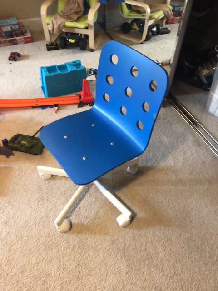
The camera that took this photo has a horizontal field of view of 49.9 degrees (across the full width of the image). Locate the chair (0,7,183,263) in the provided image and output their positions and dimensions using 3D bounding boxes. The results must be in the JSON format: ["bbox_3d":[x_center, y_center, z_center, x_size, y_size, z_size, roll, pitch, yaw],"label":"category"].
[{"bbox_3d":[-0.136,-0.017,0.869,0.362,0.705,0.521,-33,56,-28],"label":"chair"}]
